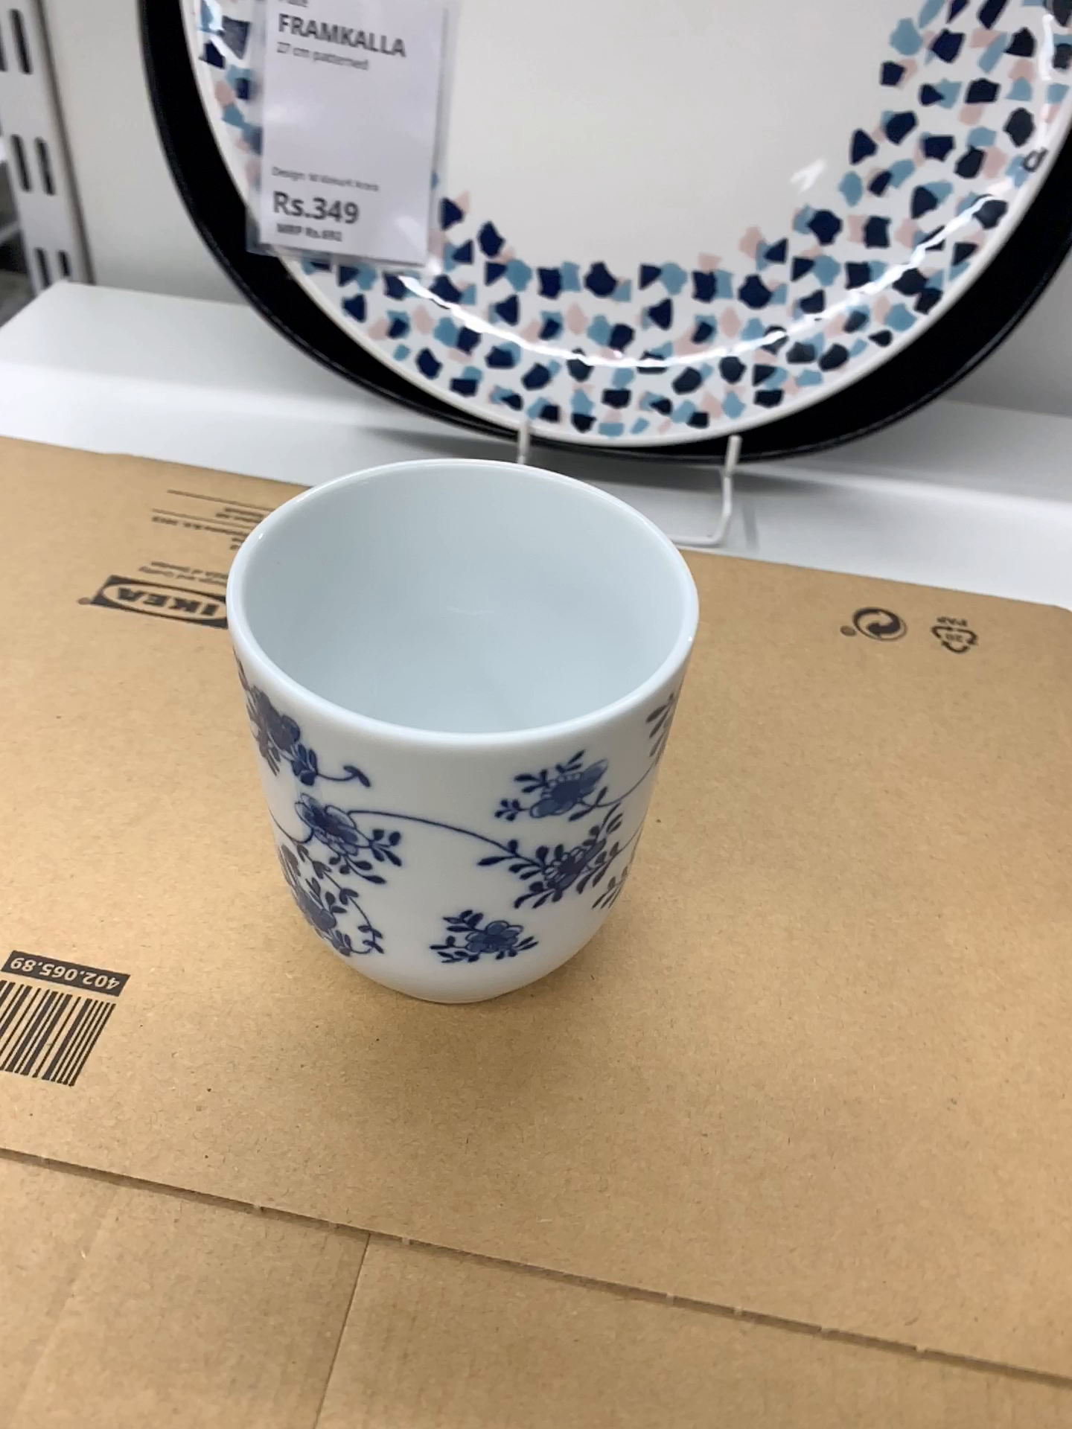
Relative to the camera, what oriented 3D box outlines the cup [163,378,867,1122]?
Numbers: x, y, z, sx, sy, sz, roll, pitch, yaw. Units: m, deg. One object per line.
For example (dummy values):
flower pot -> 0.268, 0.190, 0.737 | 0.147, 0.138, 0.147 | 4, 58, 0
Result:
cup -> -0.011, 0.001, 0.190 | 0.080, 0.080, 0.080 | 4, 40, -3
